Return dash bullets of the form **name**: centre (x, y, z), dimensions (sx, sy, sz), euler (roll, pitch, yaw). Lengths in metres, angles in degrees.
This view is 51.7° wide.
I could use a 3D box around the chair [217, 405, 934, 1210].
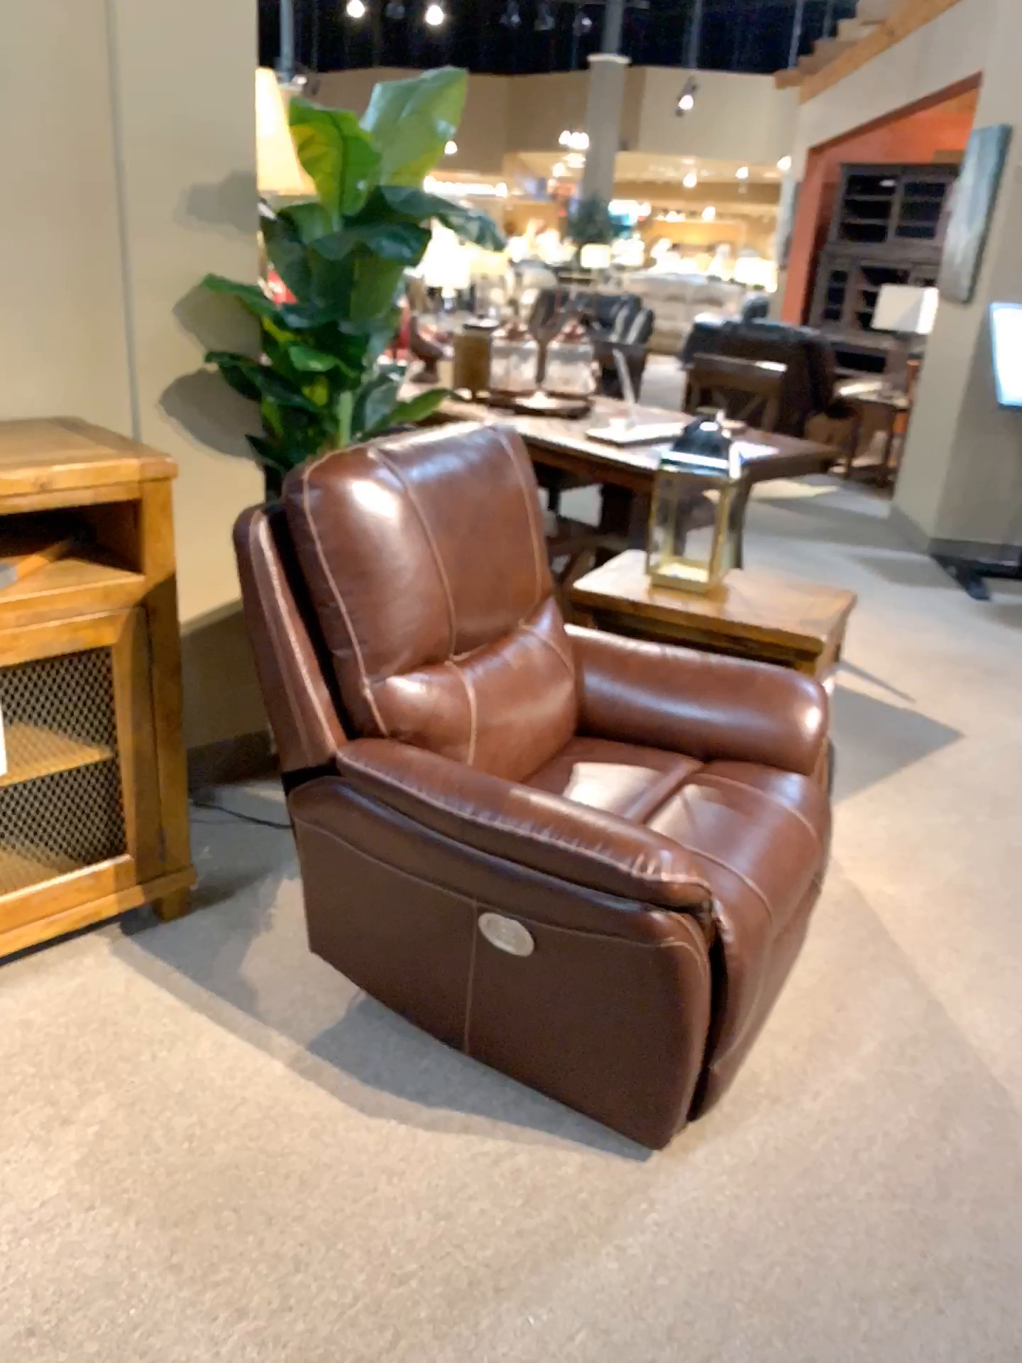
- **chair**: centre (0.124, 0.092, 1.925), dimensions (0.913, 0.975, 0.851), euler (15, 25, 25)
